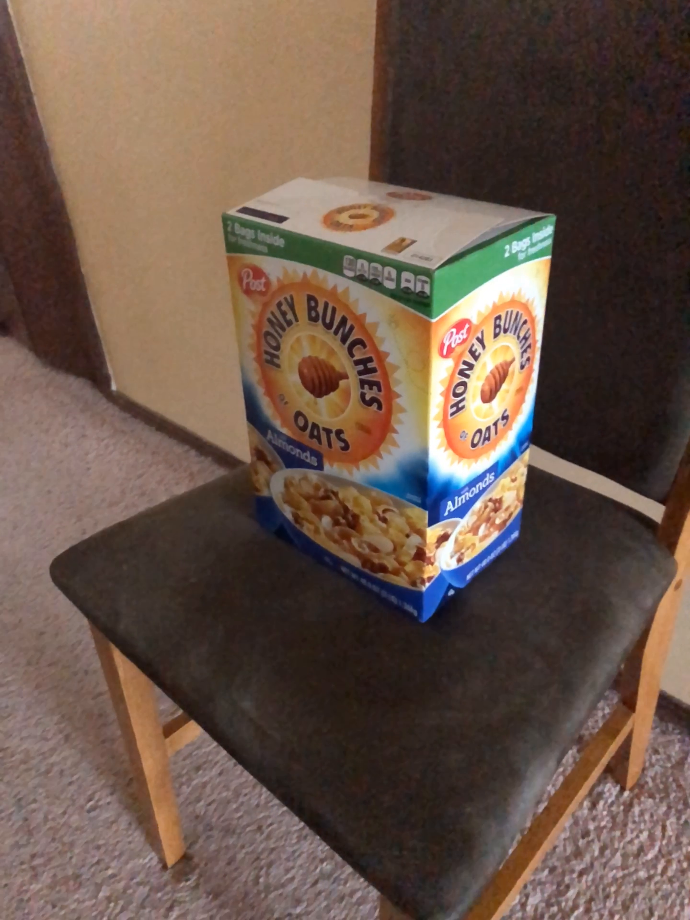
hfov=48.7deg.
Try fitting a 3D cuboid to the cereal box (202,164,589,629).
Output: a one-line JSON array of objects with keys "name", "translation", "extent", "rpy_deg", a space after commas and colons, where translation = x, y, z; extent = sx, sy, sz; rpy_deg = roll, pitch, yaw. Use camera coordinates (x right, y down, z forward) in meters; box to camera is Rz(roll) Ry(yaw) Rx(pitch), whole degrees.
[{"name": "cereal box", "translation": [0.035, -0.063, 0.608], "extent": [0.220, 0.279, 0.160], "rpy_deg": [26, 41, 38]}]
